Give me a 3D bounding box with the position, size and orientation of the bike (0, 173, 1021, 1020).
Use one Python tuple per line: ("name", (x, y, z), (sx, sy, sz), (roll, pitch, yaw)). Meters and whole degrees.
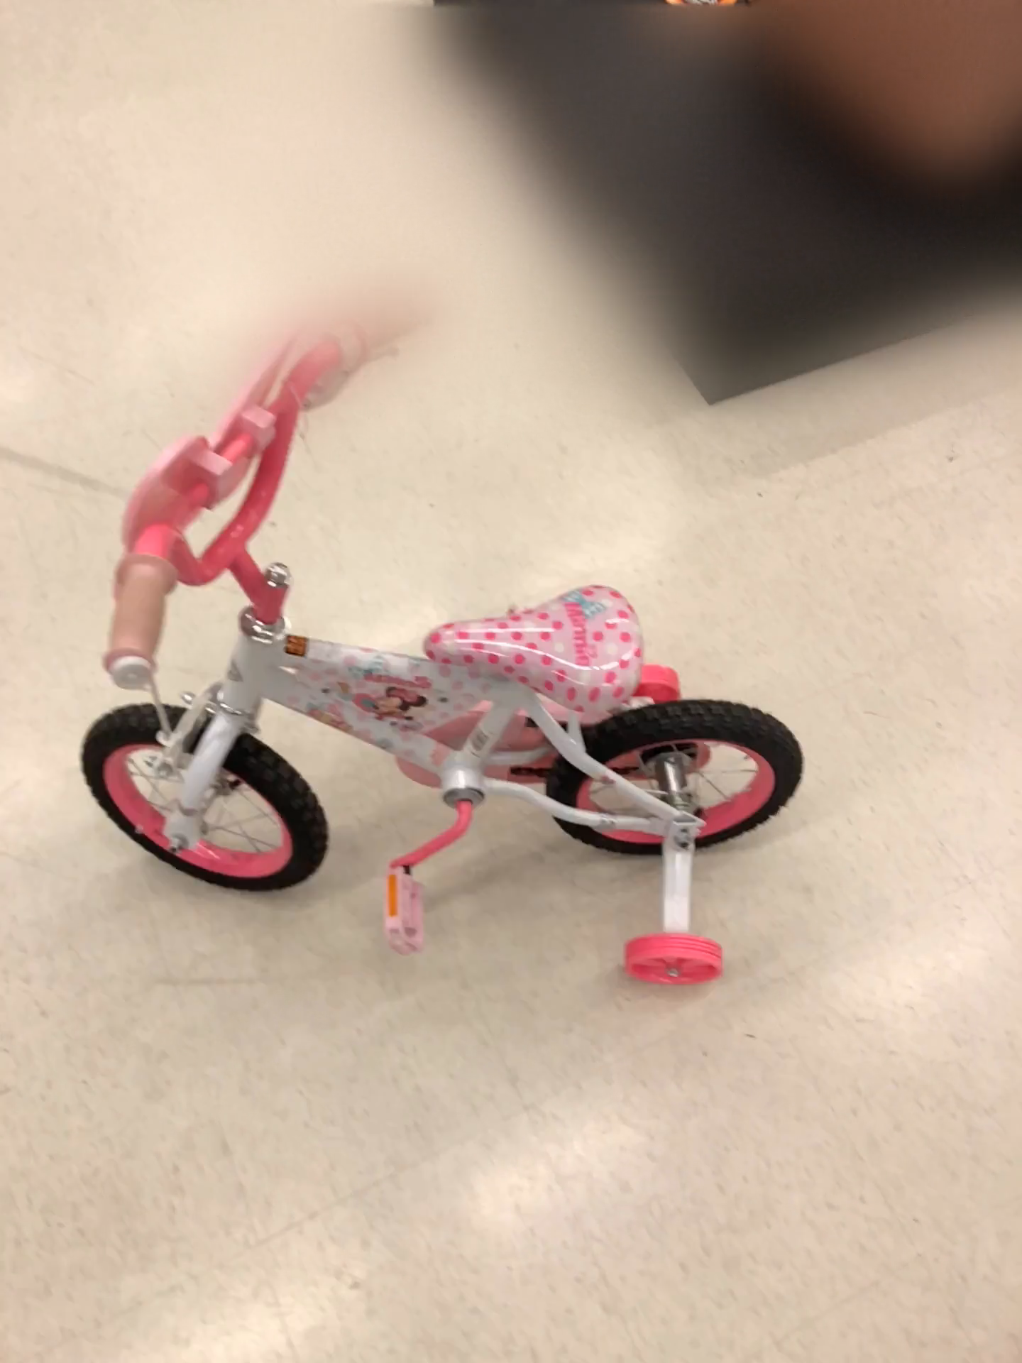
("bike", (-0.064, -0.020, 1.080), (0.773, 0.681, 0.512), (0, 59, -1))
